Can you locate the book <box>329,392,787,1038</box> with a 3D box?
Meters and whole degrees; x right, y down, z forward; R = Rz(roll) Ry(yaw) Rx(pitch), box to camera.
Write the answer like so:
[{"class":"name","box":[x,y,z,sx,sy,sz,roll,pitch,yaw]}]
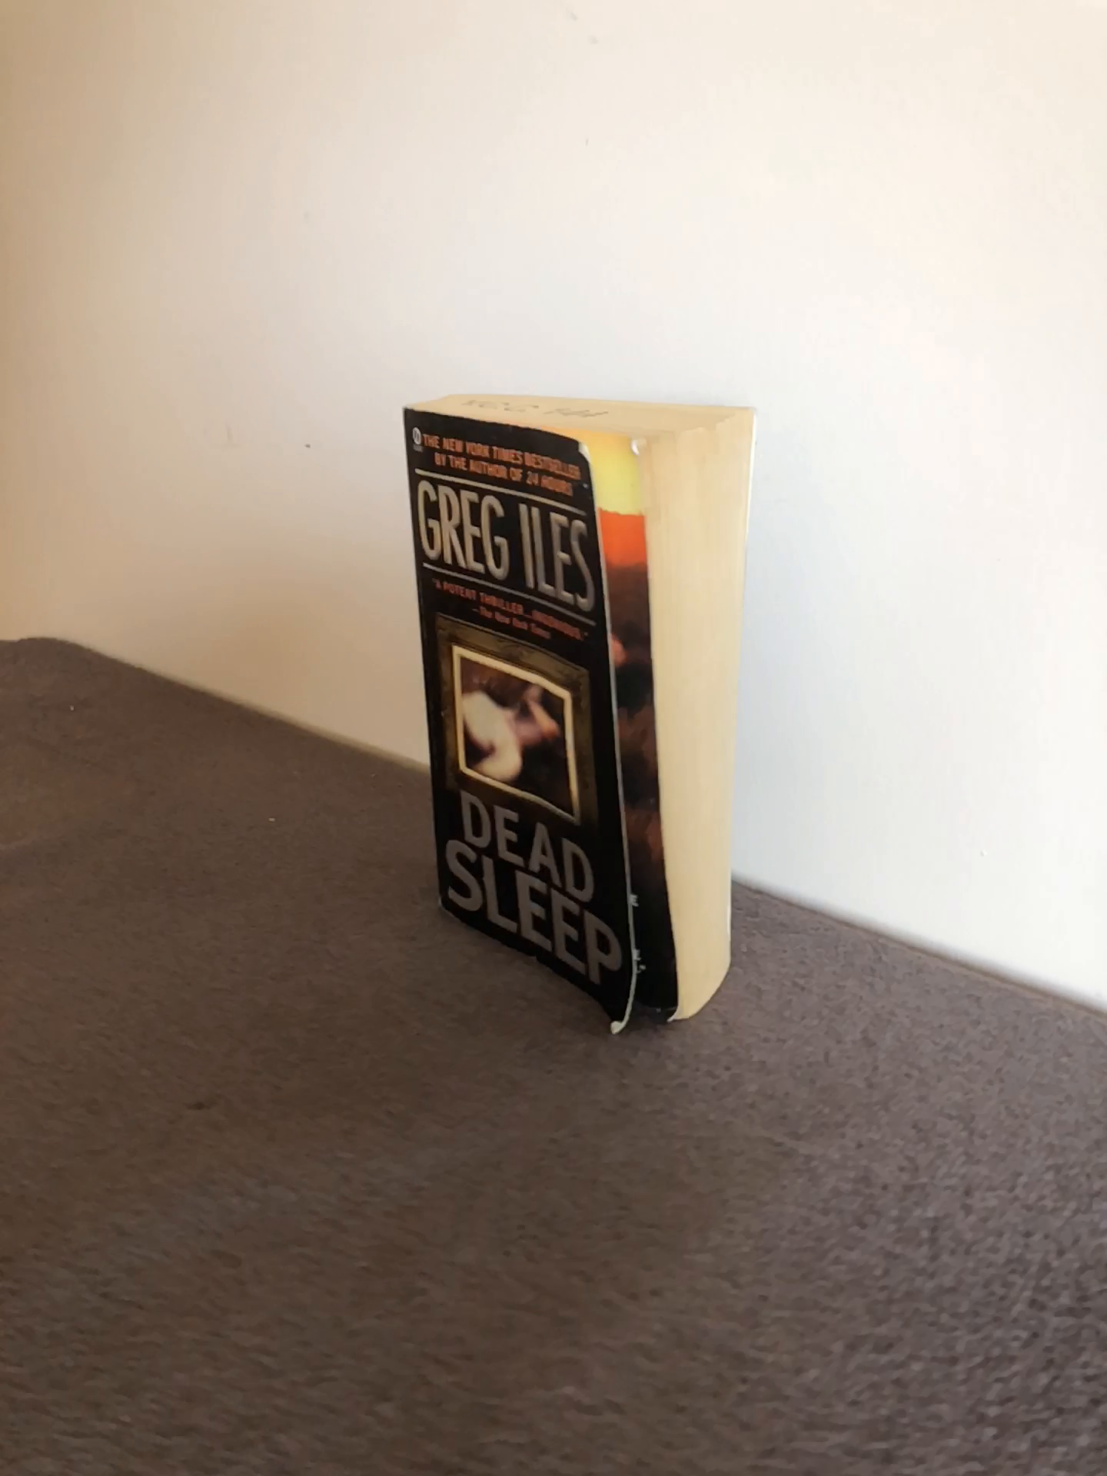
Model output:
[{"class":"book","box":[0.001,-0.016,0.371,0.061,0.163,0.123,-21,27,-39]}]
